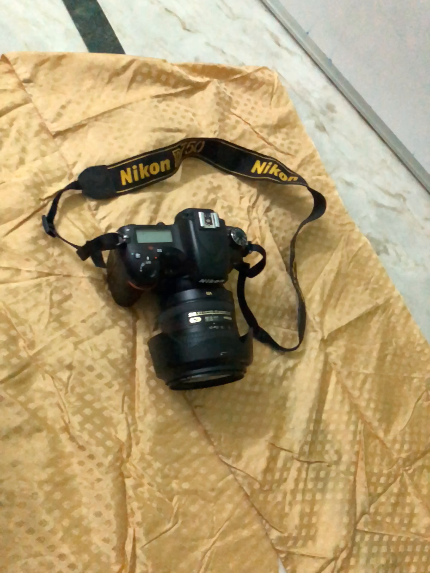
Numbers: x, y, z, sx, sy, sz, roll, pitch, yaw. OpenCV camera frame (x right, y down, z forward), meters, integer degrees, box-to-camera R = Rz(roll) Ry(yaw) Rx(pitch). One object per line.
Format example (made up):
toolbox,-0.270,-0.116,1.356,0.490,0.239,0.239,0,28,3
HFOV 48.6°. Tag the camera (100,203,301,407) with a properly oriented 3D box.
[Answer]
camera,-0.023,0.019,0.477,0.149,0.110,0.170,-4,75,-24
